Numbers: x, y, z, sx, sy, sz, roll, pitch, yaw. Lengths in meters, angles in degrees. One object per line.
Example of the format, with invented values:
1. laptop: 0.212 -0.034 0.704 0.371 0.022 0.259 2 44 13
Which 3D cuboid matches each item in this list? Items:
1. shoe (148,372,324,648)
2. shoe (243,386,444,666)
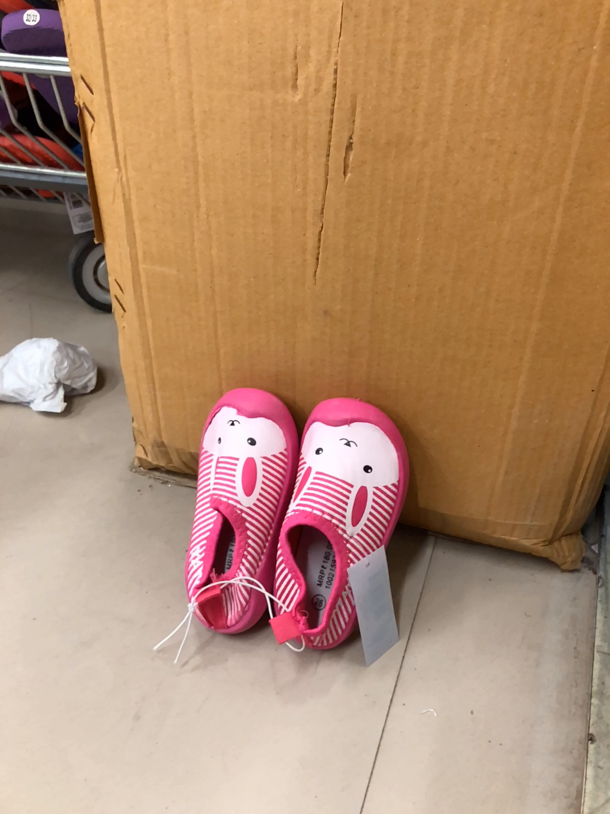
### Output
1. shoe: -0.039 0.067 0.443 0.069 0.082 0.157 6 76 12
2. shoe: 0.030 0.075 0.430 0.069 0.082 0.148 12 79 23
